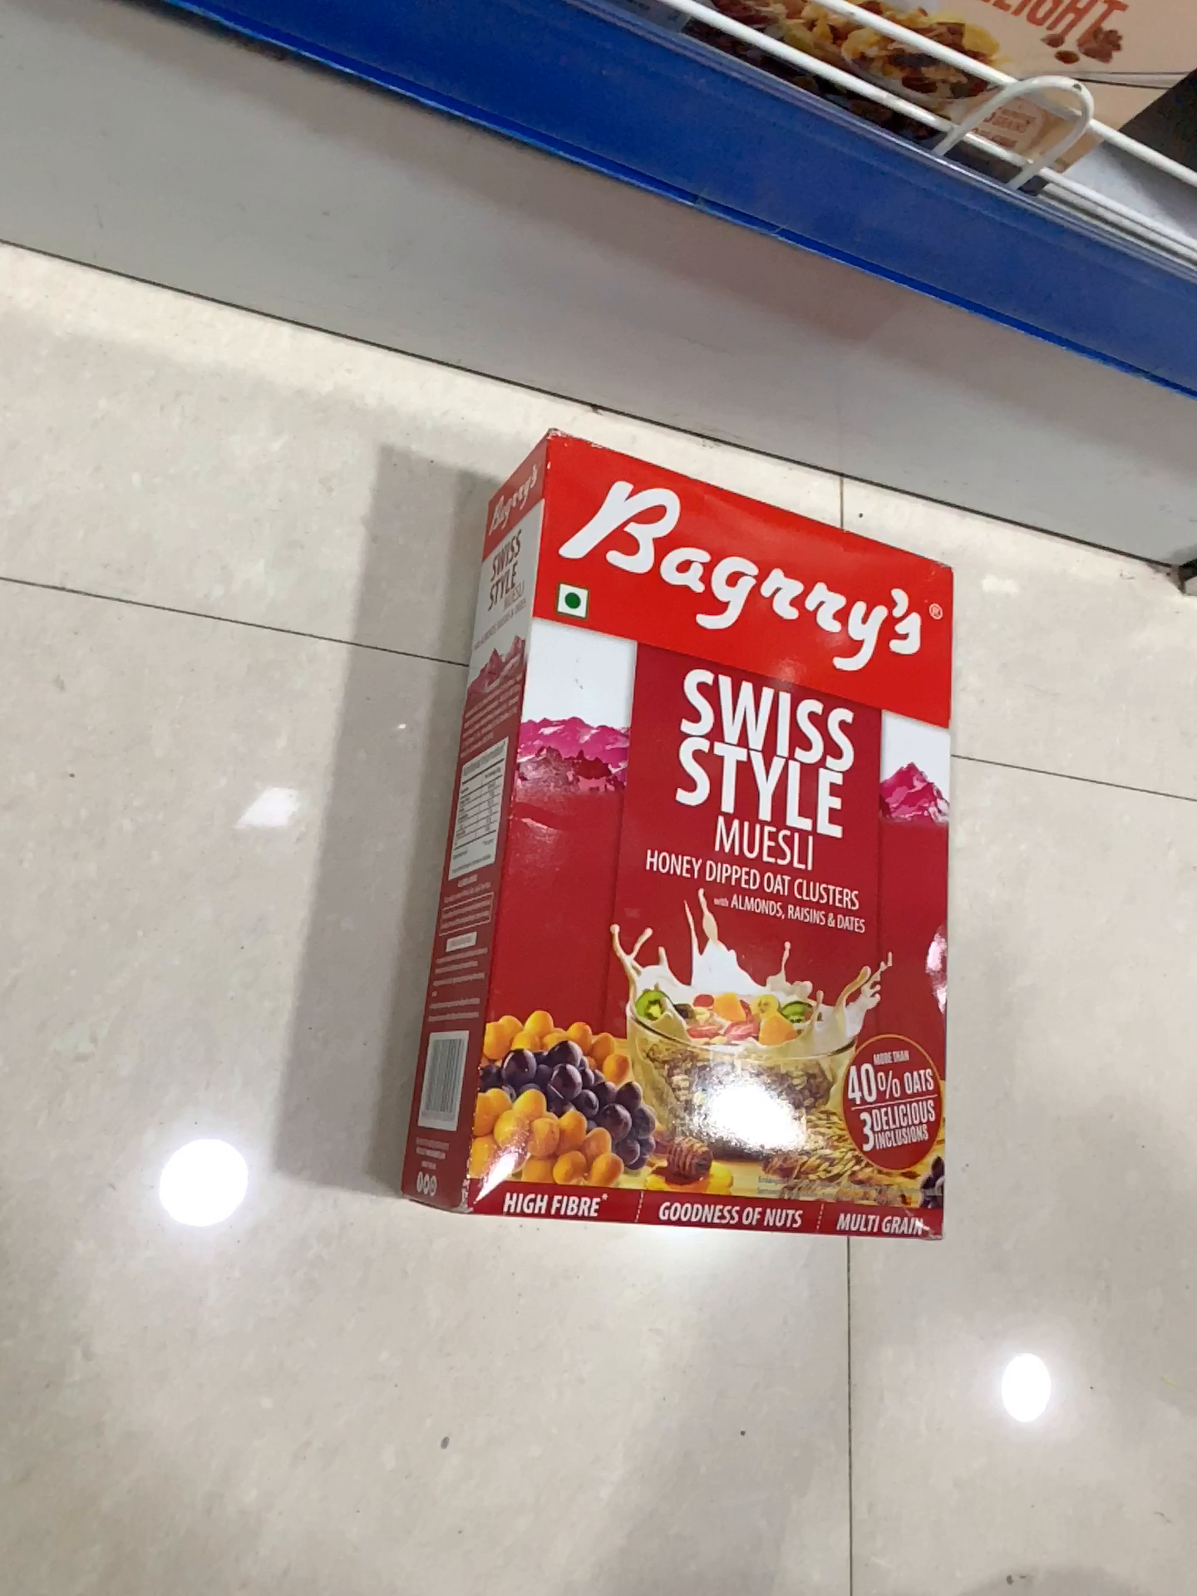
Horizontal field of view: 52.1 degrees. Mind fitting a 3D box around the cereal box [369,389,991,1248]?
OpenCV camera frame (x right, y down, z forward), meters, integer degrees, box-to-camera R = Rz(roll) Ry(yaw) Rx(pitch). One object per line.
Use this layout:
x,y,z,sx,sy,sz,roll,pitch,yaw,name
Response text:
0.039,0.017,0.445,0.190,0.080,0.260,12,75,-24,cereal box
